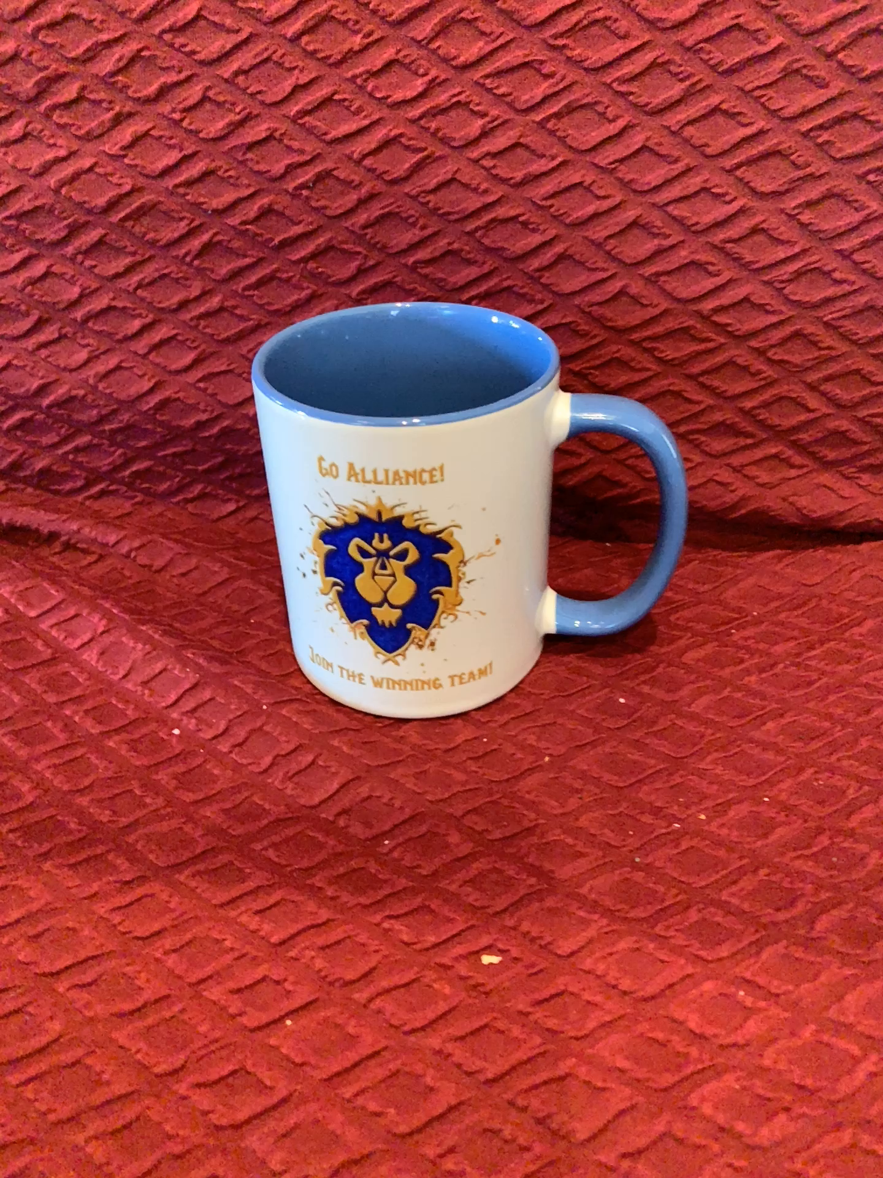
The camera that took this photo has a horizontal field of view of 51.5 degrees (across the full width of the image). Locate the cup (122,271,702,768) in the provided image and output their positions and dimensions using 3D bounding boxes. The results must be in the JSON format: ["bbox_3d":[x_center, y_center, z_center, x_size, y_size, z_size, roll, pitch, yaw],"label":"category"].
[{"bbox_3d":[0.000,-0.026,0.270,0.130,0.099,0.101,5,37,9],"label":"cup"}]
